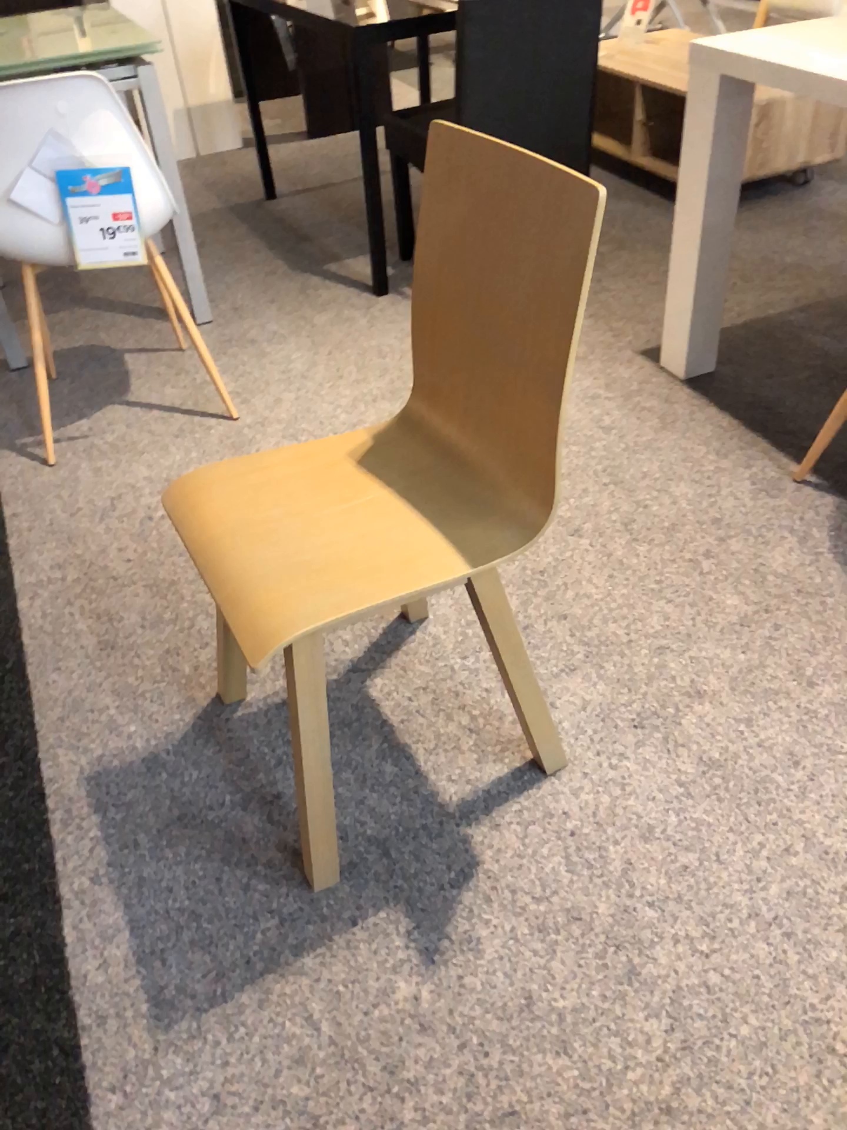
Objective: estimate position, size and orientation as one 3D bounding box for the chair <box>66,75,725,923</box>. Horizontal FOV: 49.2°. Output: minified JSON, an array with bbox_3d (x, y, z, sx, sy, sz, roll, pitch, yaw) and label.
[{"bbox_3d":[-0.039,-0.085,1.193,0.491,0.835,0.522,-20,41,-18],"label":"chair"}]
